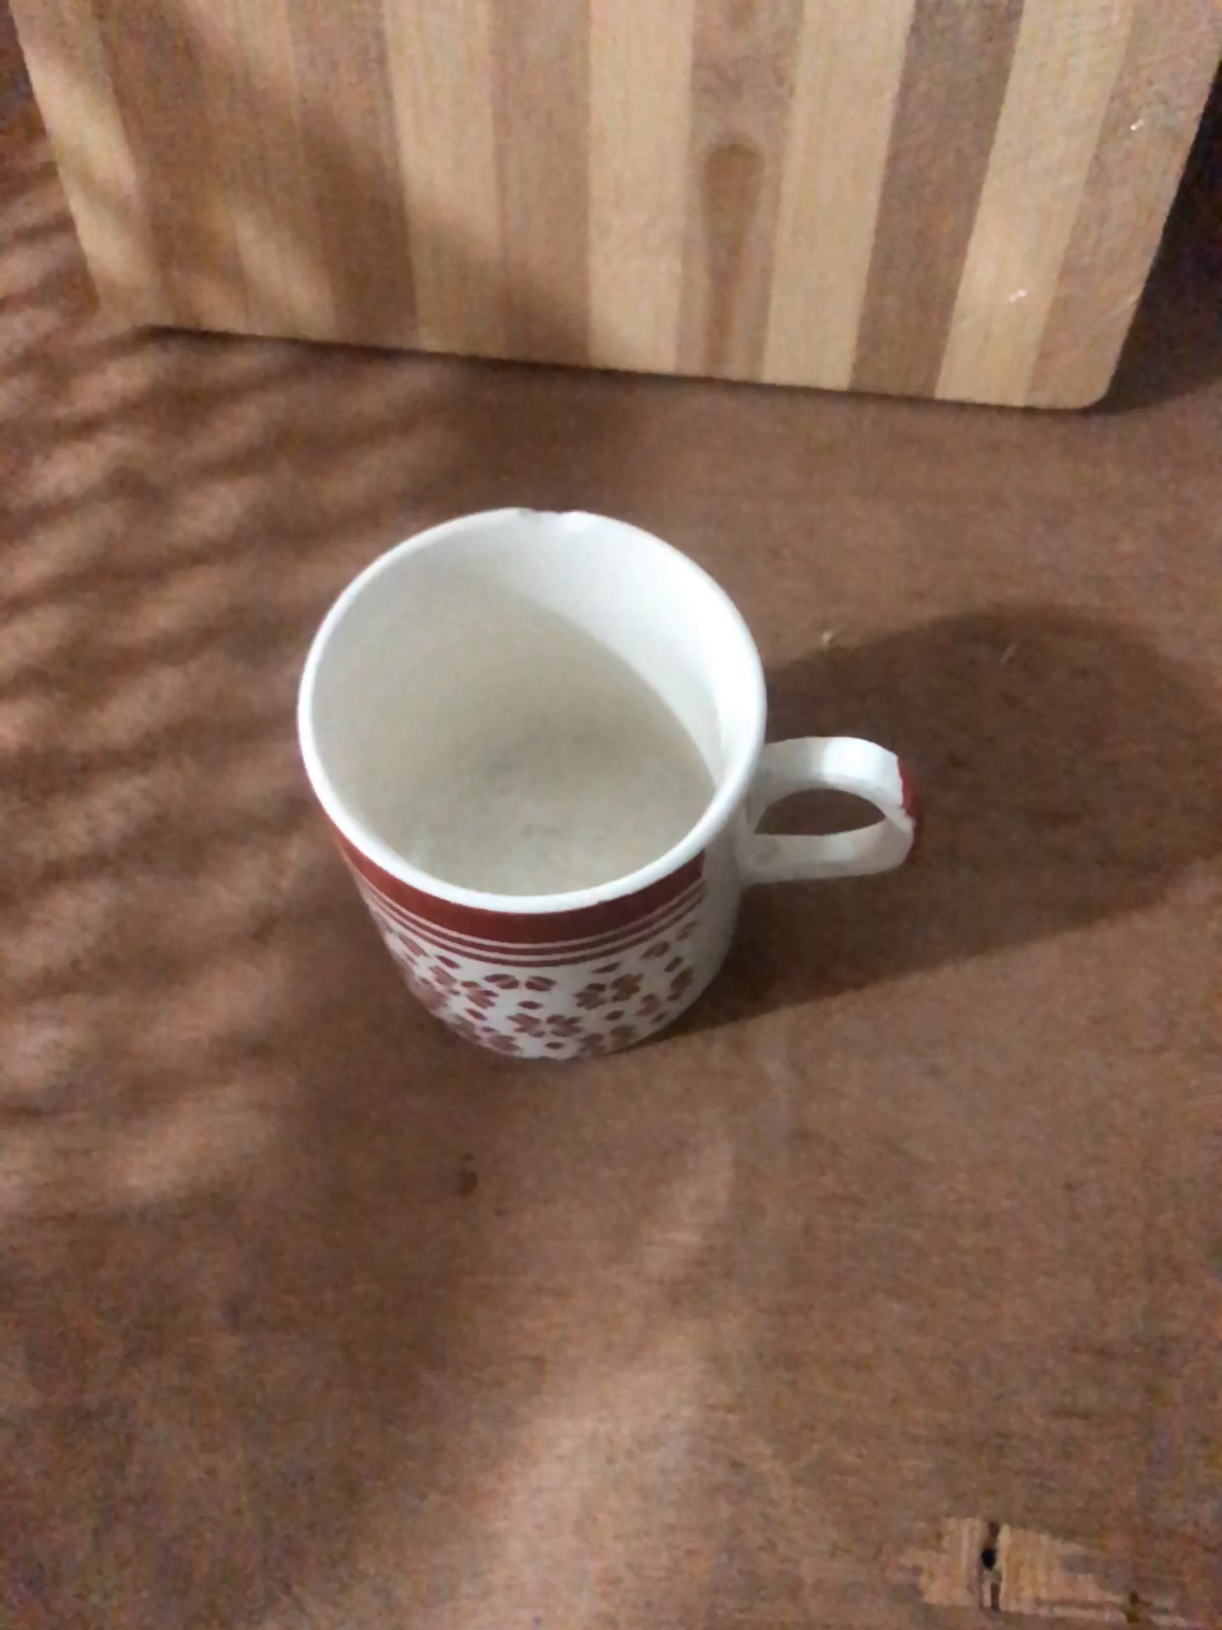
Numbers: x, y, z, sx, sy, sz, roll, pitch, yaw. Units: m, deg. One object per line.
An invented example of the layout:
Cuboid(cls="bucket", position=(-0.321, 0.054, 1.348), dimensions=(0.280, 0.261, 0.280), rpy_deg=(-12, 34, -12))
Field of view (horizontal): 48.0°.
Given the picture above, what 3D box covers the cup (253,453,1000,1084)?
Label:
Cuboid(cls="cup", position=(0.002, -0.003, 0.212), dimensions=(0.090, 0.070, 0.070), rpy_deg=(-2, 64, 2))
